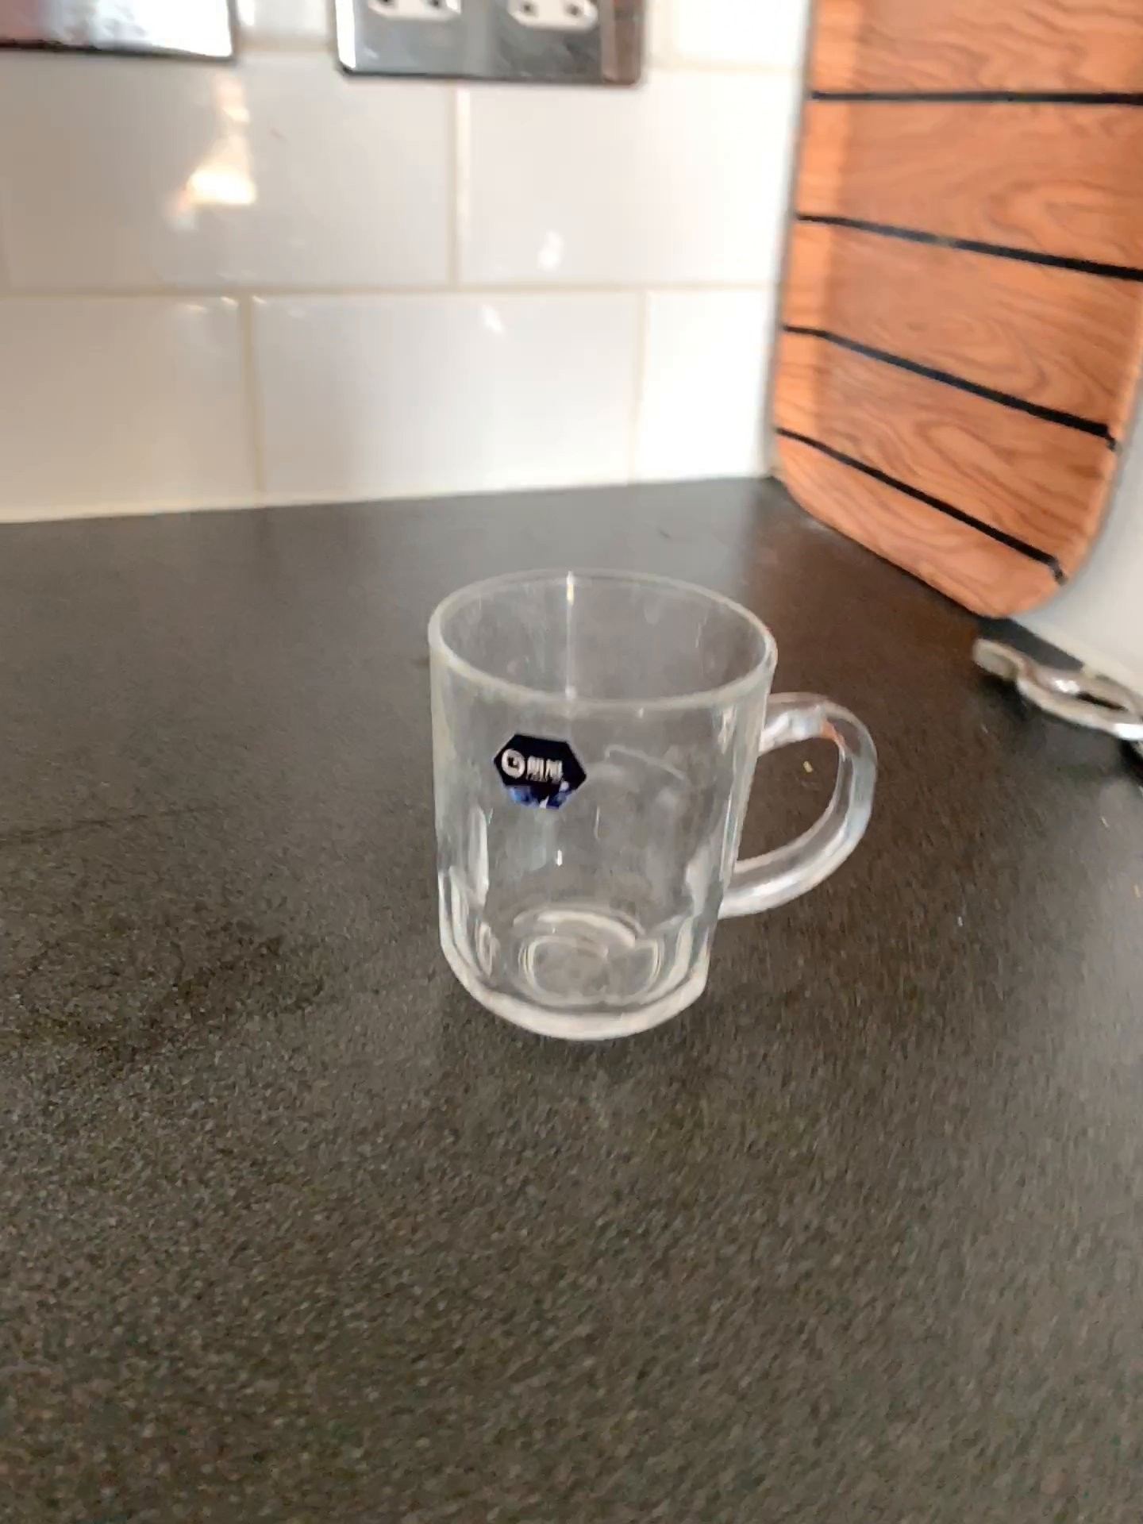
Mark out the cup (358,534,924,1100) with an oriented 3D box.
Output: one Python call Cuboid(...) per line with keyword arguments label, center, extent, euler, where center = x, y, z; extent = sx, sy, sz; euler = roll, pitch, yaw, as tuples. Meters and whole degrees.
Cuboid(label="cup", center=(0.011, 0.006, 0.275), extent=(0.100, 0.090, 0.071), euler=(-11, 31, -24))
